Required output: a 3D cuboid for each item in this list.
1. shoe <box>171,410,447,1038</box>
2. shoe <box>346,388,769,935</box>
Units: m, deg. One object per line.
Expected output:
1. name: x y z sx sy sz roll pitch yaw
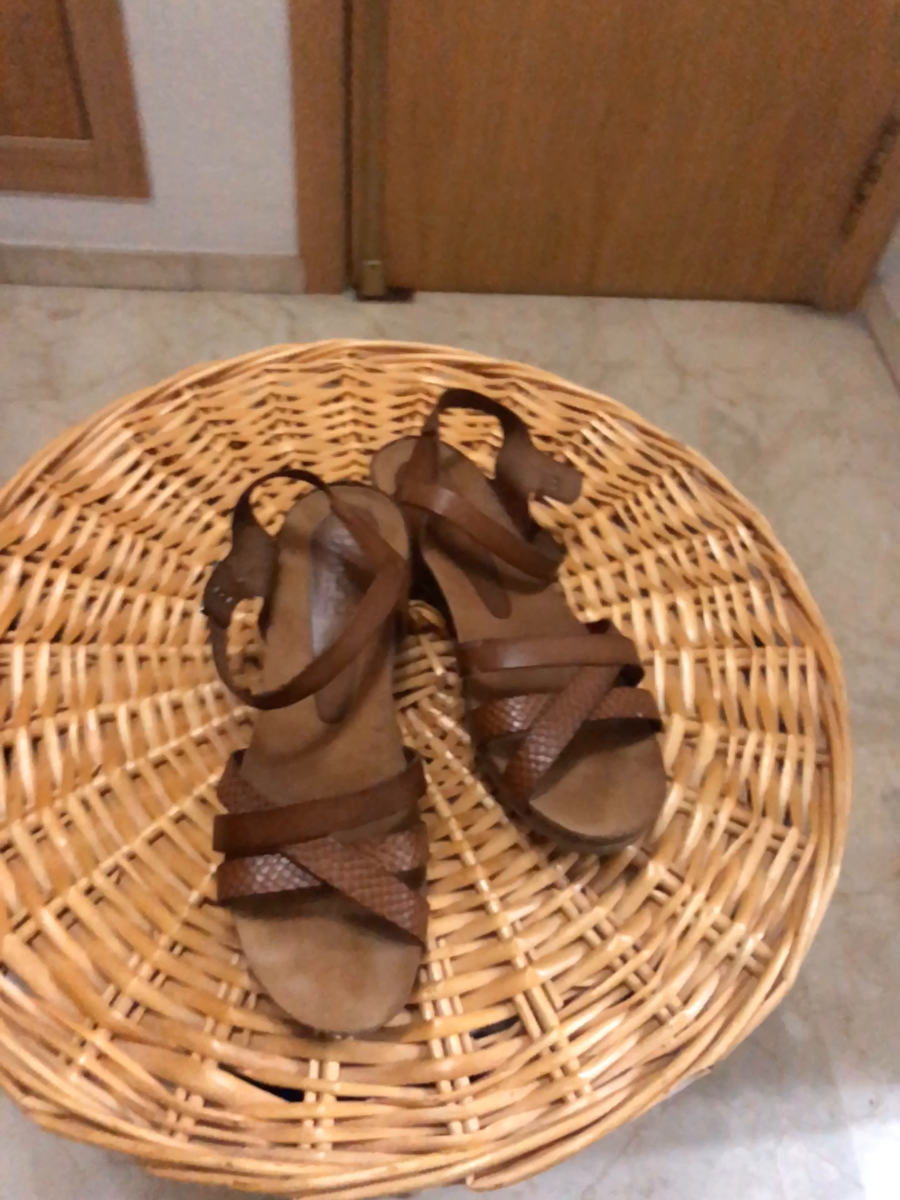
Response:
1. shoe: -0.059 0.046 0.464 0.100 0.070 0.281 1 61 -5
2. shoe: 0.037 0.013 0.514 0.100 0.060 0.281 -15 56 -16
